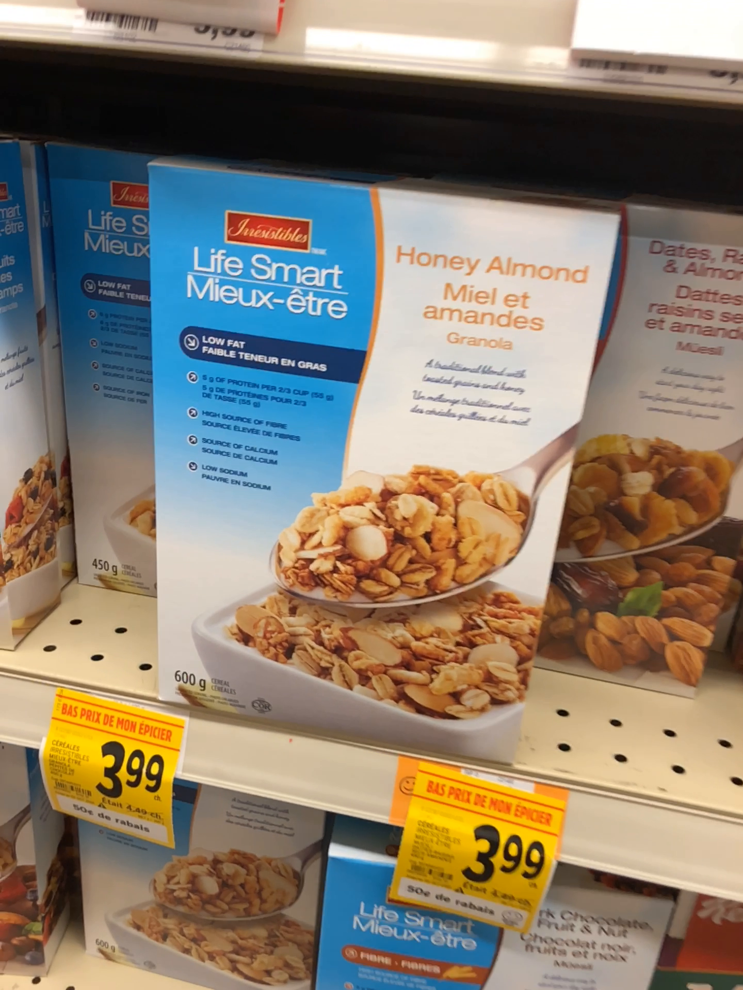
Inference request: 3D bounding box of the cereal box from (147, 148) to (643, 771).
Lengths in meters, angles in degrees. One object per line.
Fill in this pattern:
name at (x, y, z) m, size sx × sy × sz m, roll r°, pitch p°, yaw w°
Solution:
cereal box at (0.000, -0.011, 0.353) m, size 0.170 × 0.238 × 0.060 m, roll 9°, pitch 24°, yaw 8°
